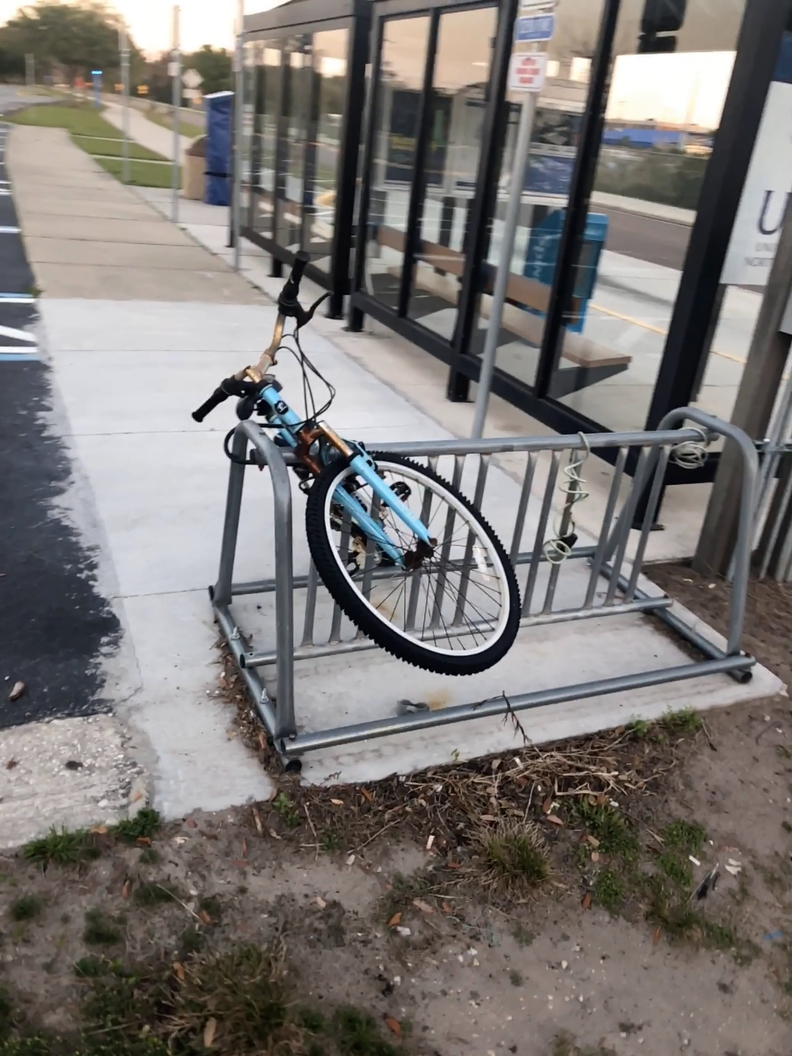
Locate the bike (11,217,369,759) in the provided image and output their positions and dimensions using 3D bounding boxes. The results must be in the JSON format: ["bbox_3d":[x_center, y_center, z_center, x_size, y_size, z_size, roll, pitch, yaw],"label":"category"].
[{"bbox_3d":[-0.431,-0.159,2.182,0.547,1.128,0.942,6,22,-2],"label":"bike"}]
